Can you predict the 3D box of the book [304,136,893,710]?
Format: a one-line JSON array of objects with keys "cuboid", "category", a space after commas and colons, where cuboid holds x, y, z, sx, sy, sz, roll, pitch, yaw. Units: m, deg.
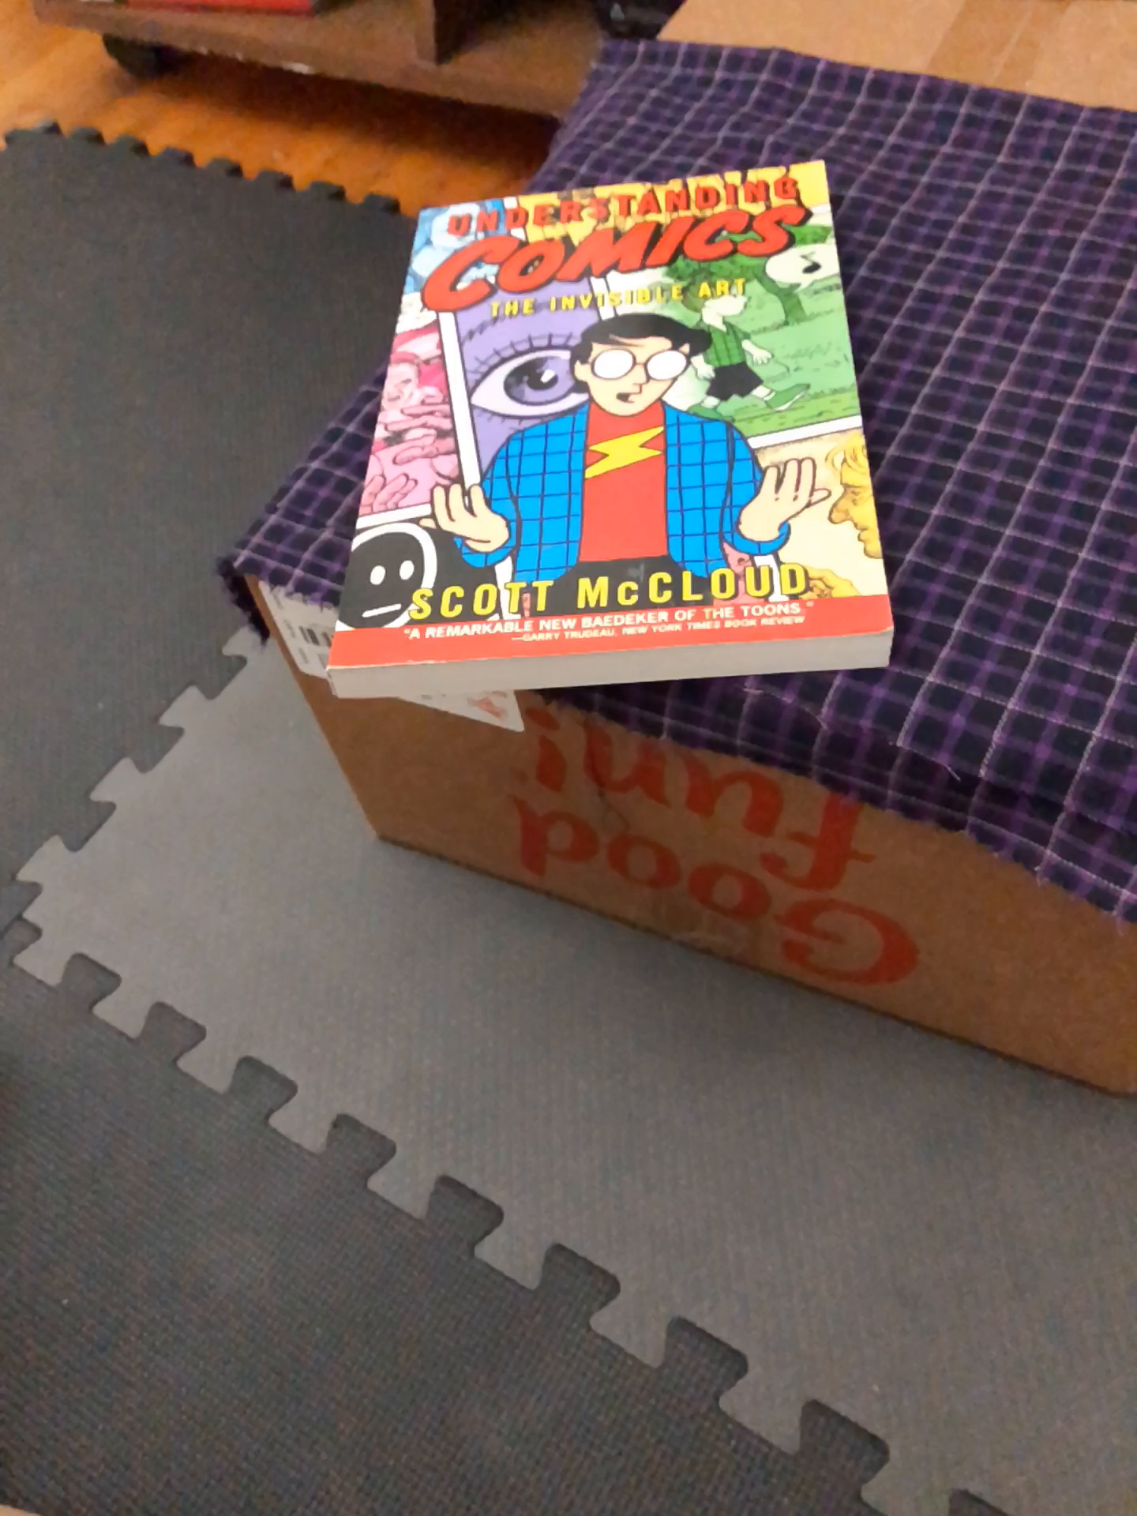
[{"cuboid": [0.013, -0.134, 0.449, 0.170, 0.020, 0.271, -3, 53, 8], "category": "book"}]
